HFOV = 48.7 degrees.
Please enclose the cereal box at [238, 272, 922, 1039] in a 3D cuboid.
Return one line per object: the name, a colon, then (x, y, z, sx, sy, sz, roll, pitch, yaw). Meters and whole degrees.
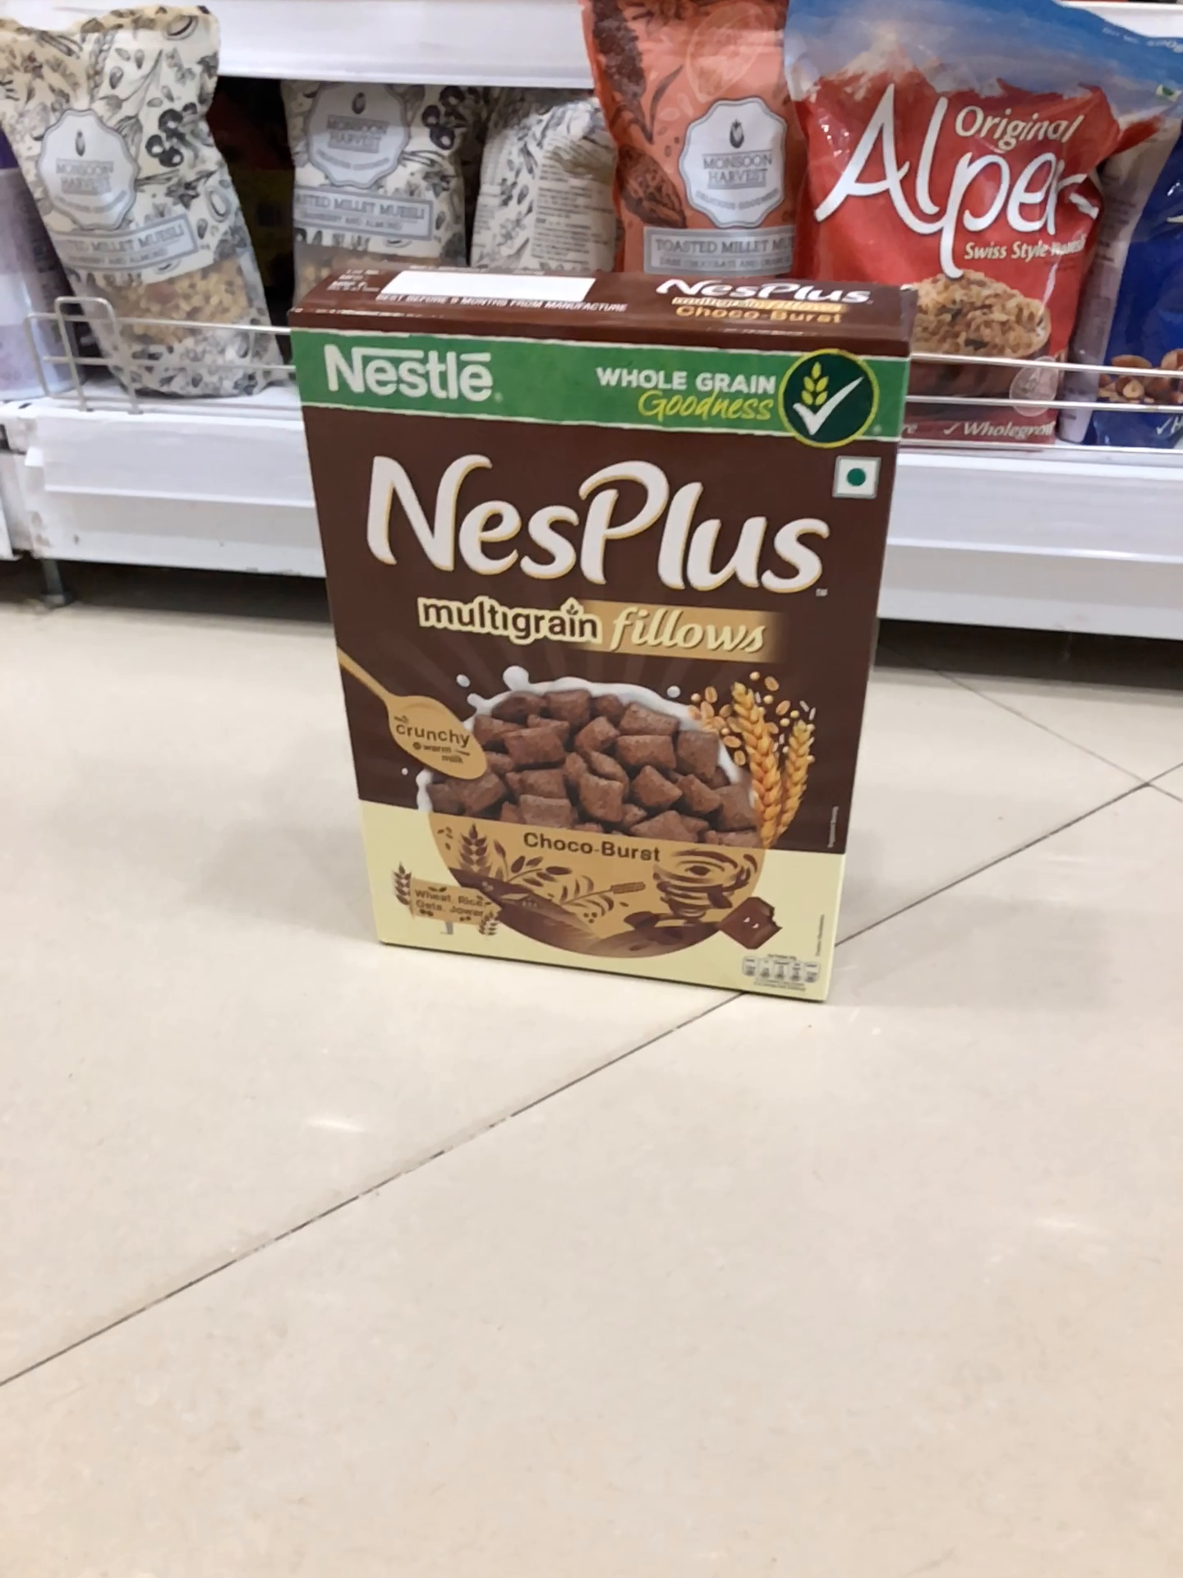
cereal box: (-0.001, -0.039, 0.470, 0.200, 0.258, 0.060, 6, 34, 10)
